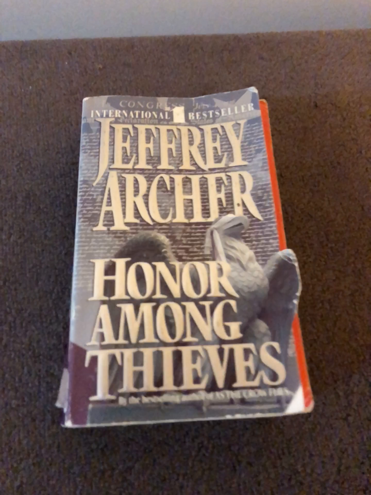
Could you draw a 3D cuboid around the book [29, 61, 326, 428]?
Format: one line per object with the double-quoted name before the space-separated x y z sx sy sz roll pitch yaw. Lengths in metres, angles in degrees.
"book" -0.007 -0.010 0.221 0.120 0.040 0.190 1 67 -7
